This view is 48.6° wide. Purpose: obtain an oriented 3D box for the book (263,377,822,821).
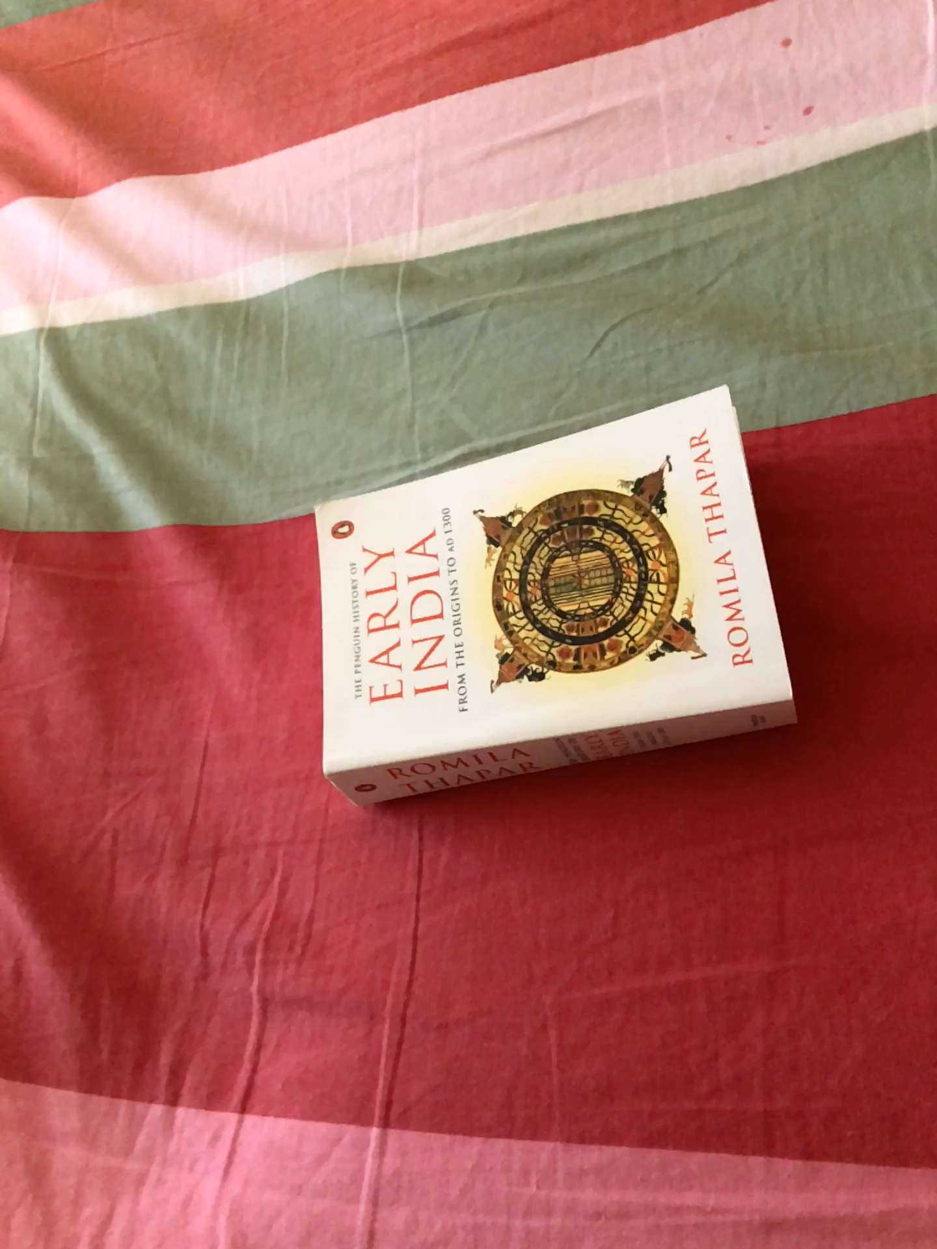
[{"bbox_3d":[0.025,-0.006,0.424,0.201,0.070,0.120,-14,62,11],"label":"book"}]
